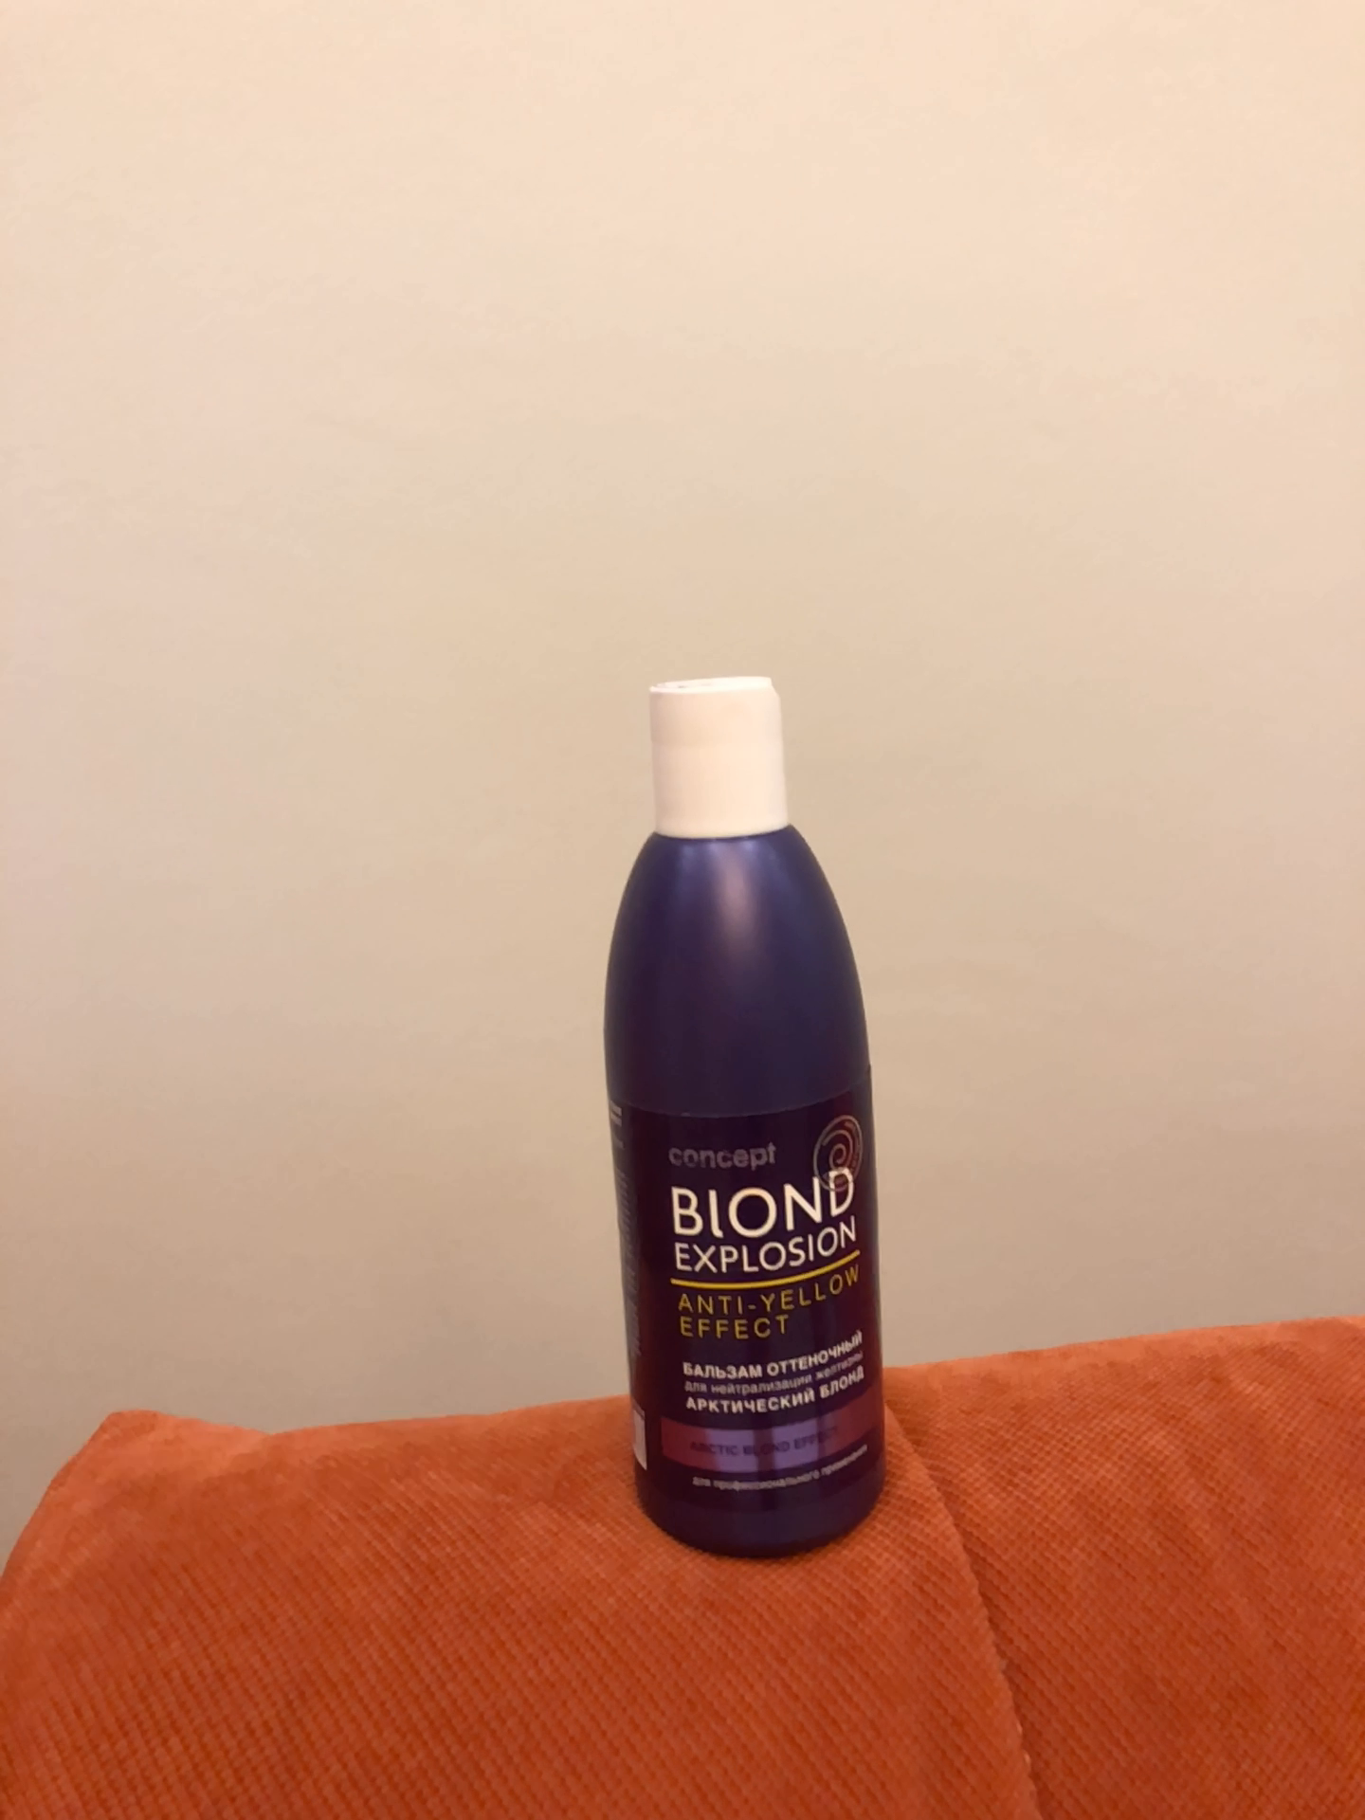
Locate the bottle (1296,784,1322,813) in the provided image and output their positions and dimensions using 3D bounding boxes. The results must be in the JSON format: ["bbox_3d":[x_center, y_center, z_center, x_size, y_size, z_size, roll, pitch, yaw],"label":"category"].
[{"bbox_3d":[2.291,-0.408,5.504,0.055,0.092,0.055,1,15,0],"label":"bottle"}]
